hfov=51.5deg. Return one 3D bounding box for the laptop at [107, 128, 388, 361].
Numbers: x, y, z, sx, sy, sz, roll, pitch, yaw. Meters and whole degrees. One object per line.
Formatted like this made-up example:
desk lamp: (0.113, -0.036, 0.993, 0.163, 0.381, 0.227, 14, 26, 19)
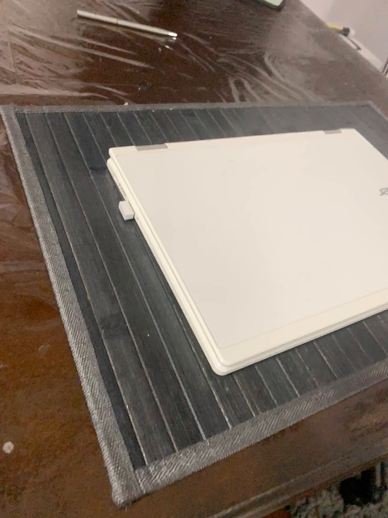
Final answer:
laptop: (0.094, -0.043, 0.338, 0.279, 0.002, 0.195, -13, 56, -25)
